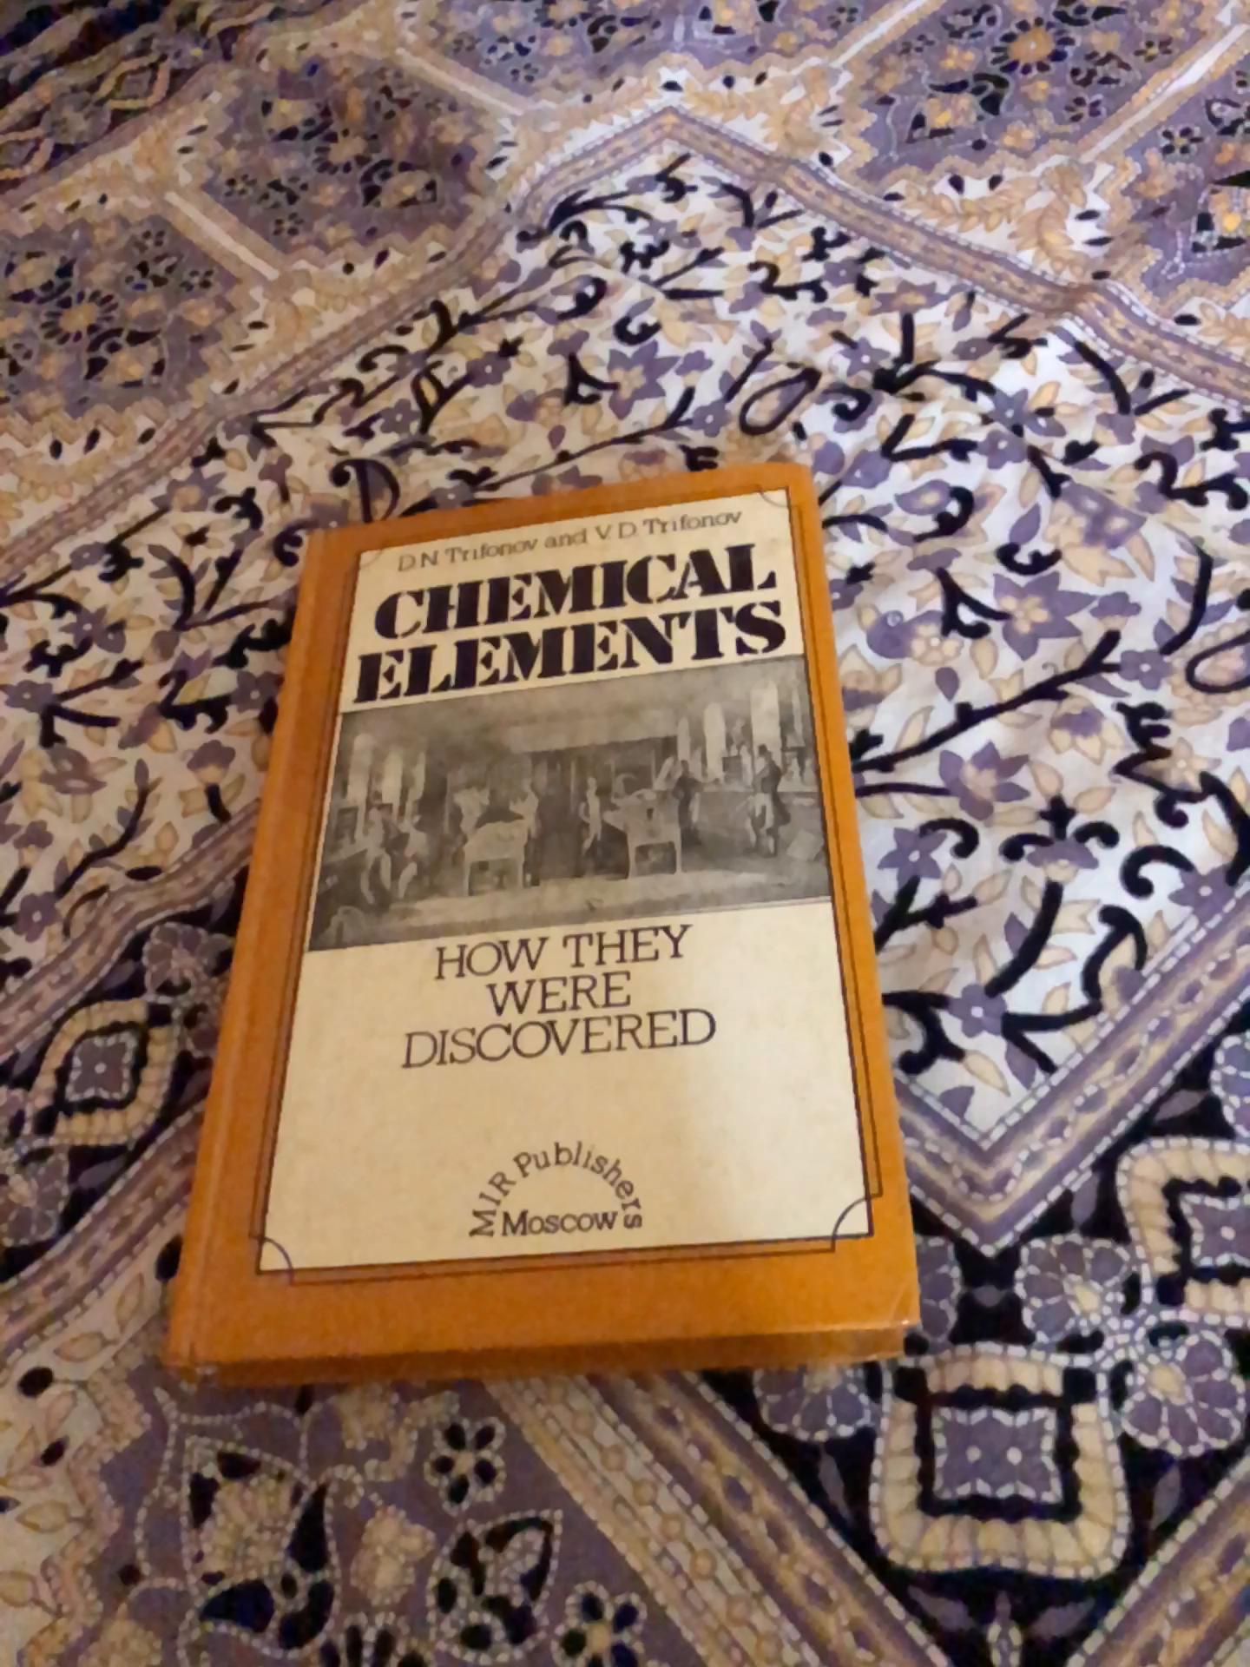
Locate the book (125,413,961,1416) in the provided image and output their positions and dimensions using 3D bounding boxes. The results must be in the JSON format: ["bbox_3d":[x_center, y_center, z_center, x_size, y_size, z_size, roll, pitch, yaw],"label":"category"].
[{"bbox_3d":[-0.015,0.003,0.303,0.140,0.030,0.221,-6,55,8],"label":"book"}]
